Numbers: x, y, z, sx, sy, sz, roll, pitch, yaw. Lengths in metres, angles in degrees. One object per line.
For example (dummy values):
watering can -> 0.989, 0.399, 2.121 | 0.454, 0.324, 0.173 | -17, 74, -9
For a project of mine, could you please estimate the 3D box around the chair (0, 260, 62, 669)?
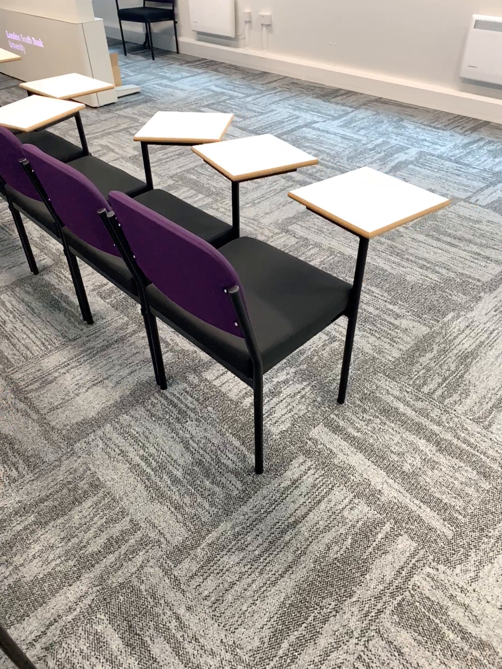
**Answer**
chair -> -0.772, 0.407, 0.882 | 0.502, 0.801, 0.519 | -27, 46, -27

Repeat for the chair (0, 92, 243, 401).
chair -> -0.397, -0.310, 1.748 | 0.493, 0.791, 0.519 | -33, 48, -32

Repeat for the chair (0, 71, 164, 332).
chair -> -0.752, -0.543, 2.051 | 0.482, 0.791, 0.519 | -33, 48, -32

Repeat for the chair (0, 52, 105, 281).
chair -> -1.112, -0.782, 2.349 | 0.503, 0.791, 0.519 | -33, 48, -32

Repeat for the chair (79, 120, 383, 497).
chair -> -0.040, -0.084, 1.454 | 0.503, 0.801, 0.519 | -33, 48, -32
